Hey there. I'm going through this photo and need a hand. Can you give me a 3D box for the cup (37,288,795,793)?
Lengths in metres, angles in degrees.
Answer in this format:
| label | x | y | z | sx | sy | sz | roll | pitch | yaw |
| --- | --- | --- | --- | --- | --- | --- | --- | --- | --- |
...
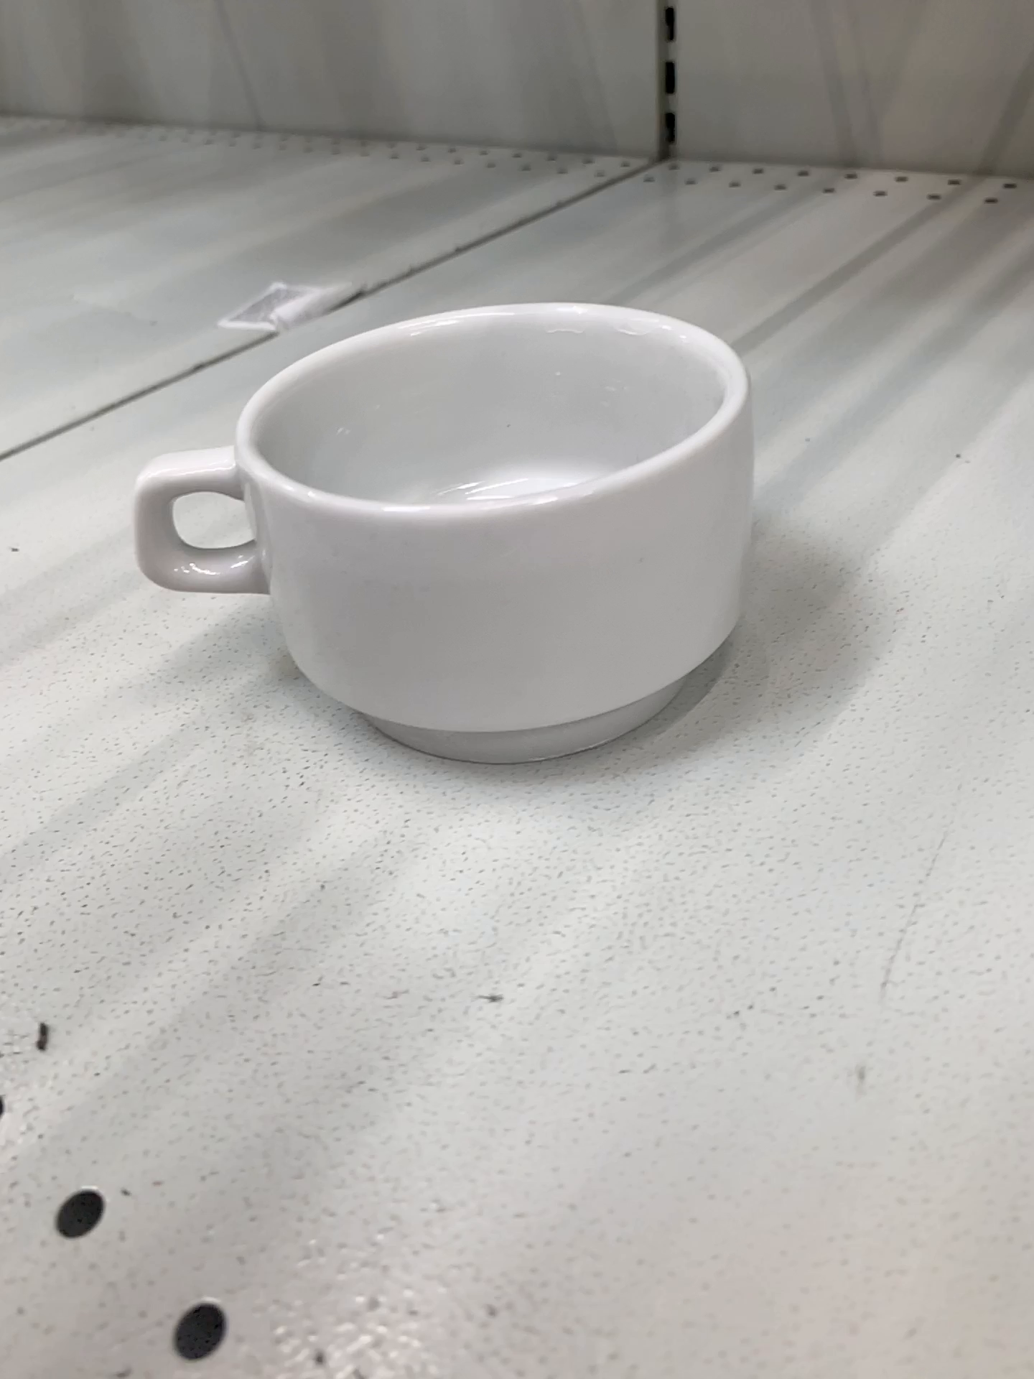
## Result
| label | x | y | z | sx | sy | sz | roll | pitch | yaw |
| --- | --- | --- | --- | --- | --- | --- | --- | --- | --- |
| cup | -0.013 | -0.033 | 0.208 | 0.111 | 0.051 | 0.091 | -4 | 37 | 3 |
